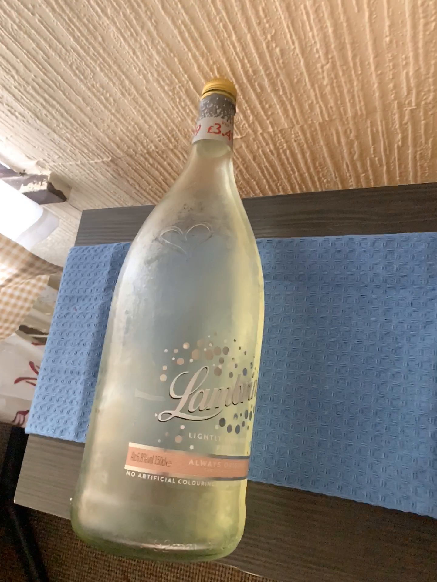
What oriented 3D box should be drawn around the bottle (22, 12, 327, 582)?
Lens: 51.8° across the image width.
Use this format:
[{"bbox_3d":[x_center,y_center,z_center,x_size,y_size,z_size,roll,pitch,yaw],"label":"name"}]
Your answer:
[{"bbox_3d":[-0.016,0.002,0.314,0.110,0.119,0.321,-7,69,43],"label":"bottle"}]
